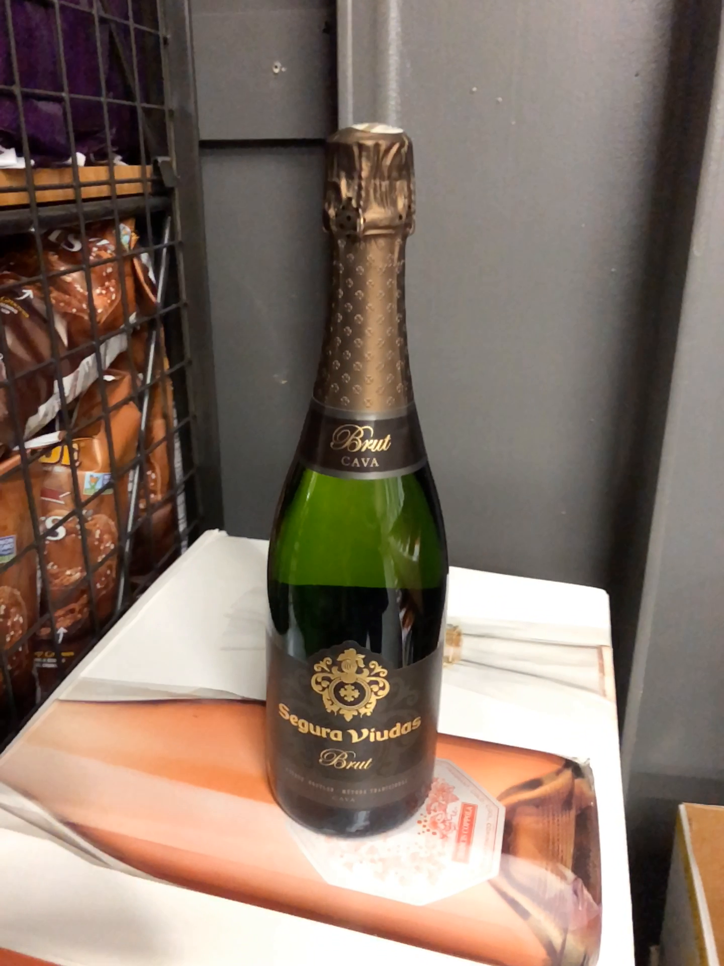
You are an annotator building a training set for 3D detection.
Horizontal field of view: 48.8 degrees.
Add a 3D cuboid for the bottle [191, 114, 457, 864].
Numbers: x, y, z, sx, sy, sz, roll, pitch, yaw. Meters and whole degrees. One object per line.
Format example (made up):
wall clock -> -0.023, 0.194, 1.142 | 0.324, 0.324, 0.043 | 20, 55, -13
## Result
bottle -> -0.008, 0.013, 0.365 | 0.090, 0.326, 0.084 | 0, 21, 0
